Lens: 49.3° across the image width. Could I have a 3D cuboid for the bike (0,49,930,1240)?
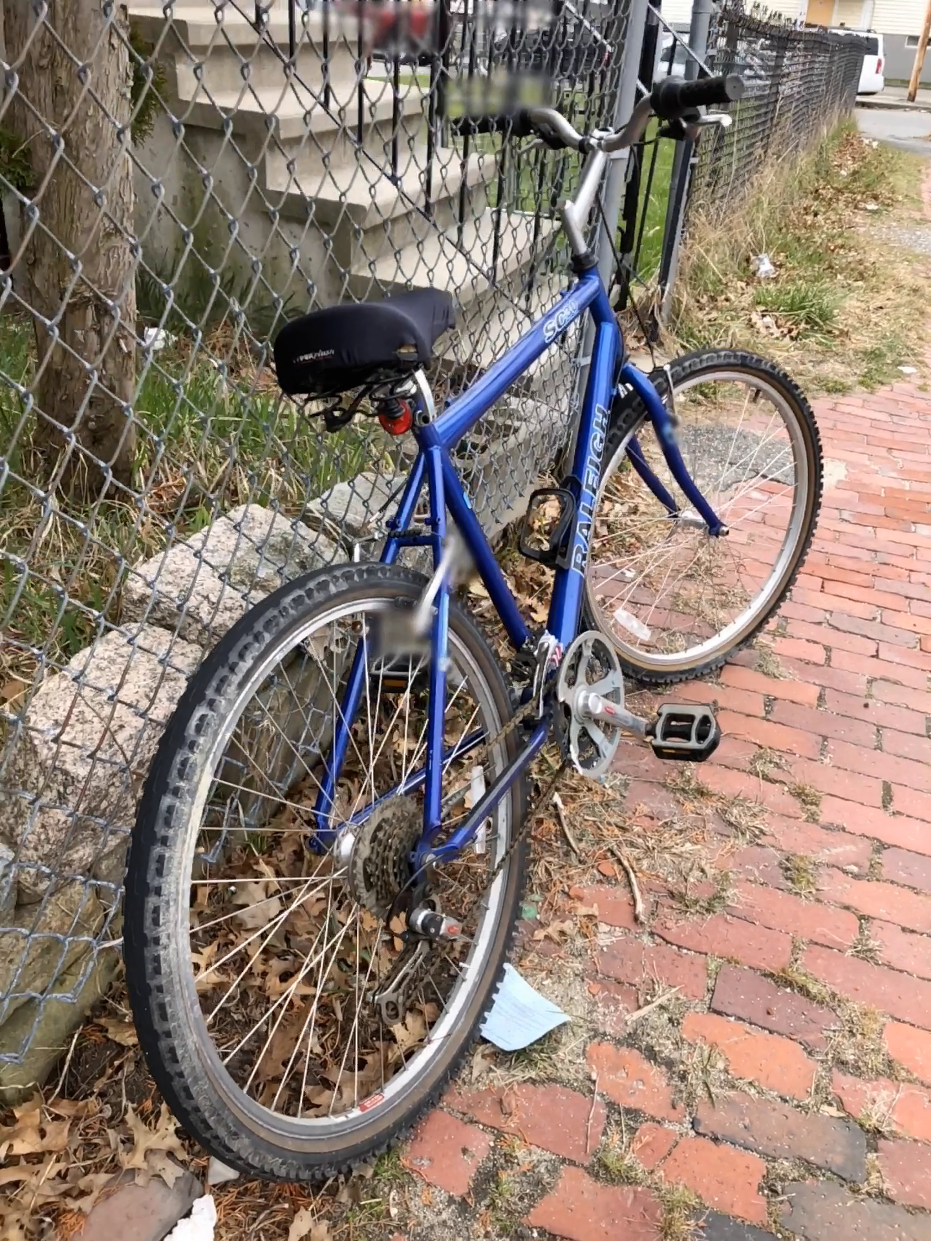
[{"bbox_3d":[0.069,-0.201,1.438,0.679,1.024,1.675,19,35,28],"label":"bike"}]
